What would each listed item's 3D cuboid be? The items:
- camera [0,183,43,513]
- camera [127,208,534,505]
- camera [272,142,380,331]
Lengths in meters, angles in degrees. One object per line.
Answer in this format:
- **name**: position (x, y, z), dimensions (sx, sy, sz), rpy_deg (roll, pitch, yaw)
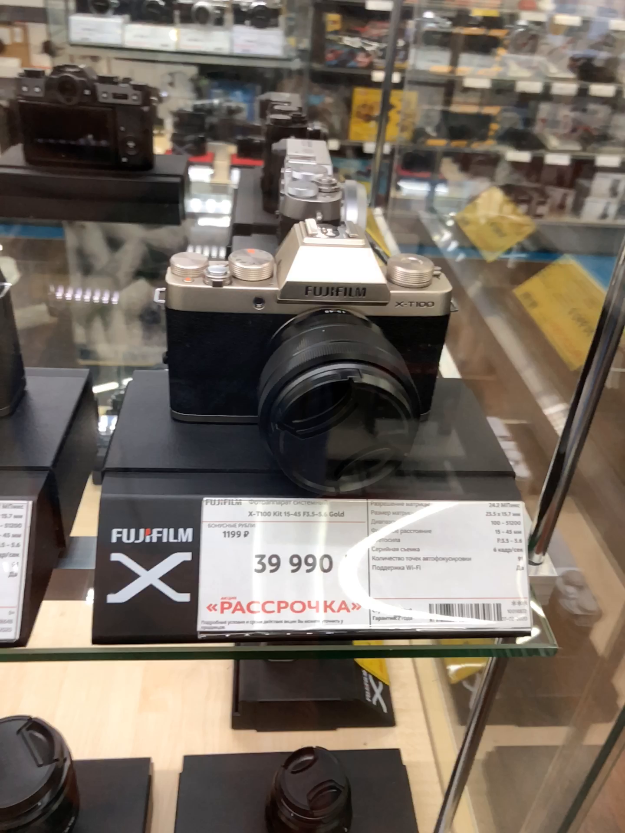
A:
- **camera**: position (-0.196, -0.030, 0.270), dimensions (0.140, 0.086, 0.103), rpy_deg (1, 33, -6)
- **camera**: position (0.000, -0.028, 0.284), dimensions (0.131, 0.080, 0.101), rpy_deg (0, 33, -8)
- **camera**: position (0.004, -0.120, 0.443), dimensions (0.054, 0.076, 0.132), rpy_deg (3, 33, -4)
